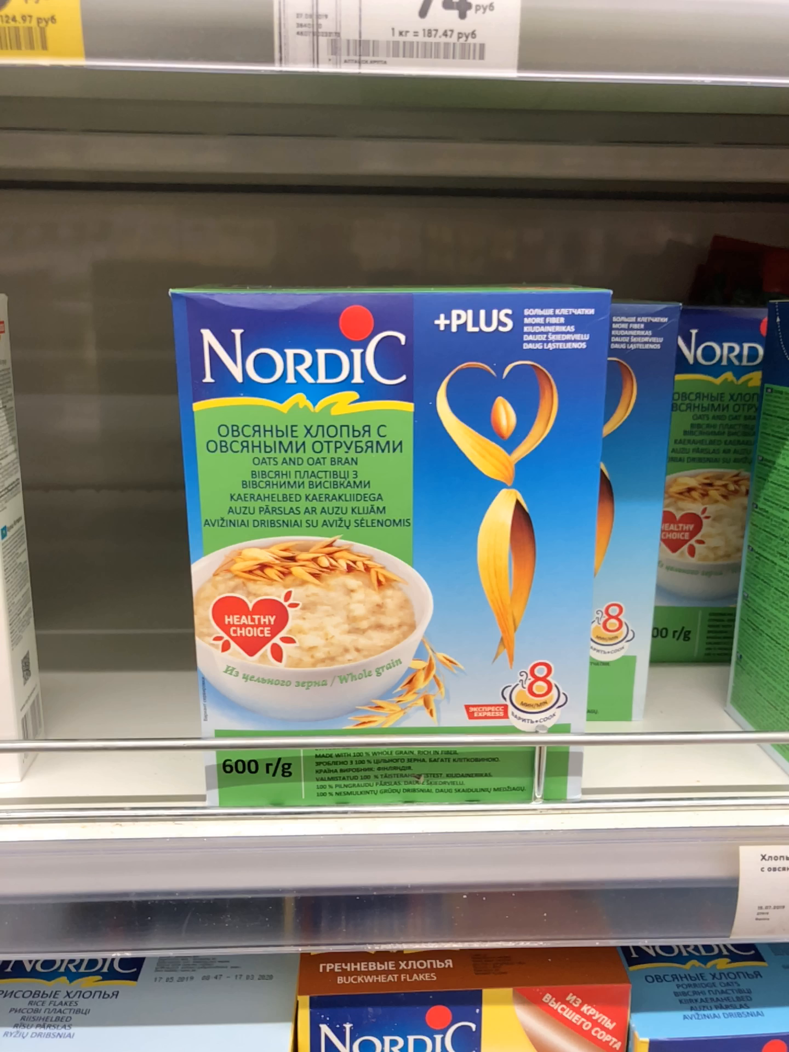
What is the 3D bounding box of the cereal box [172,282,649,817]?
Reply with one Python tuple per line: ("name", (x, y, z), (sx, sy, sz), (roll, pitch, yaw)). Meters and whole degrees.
("cereal box", (0.004, 0.006, 0.333), (0.150, 0.189, 0.070), (0, 15, -1))
